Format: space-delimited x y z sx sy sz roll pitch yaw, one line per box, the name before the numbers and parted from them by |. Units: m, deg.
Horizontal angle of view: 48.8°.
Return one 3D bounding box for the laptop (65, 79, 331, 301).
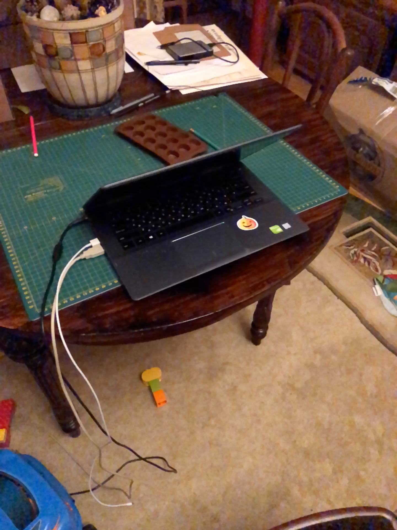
laptop | -0.005 -0.133 0.690 0.318 0.162 0.225 -22 52 -19
